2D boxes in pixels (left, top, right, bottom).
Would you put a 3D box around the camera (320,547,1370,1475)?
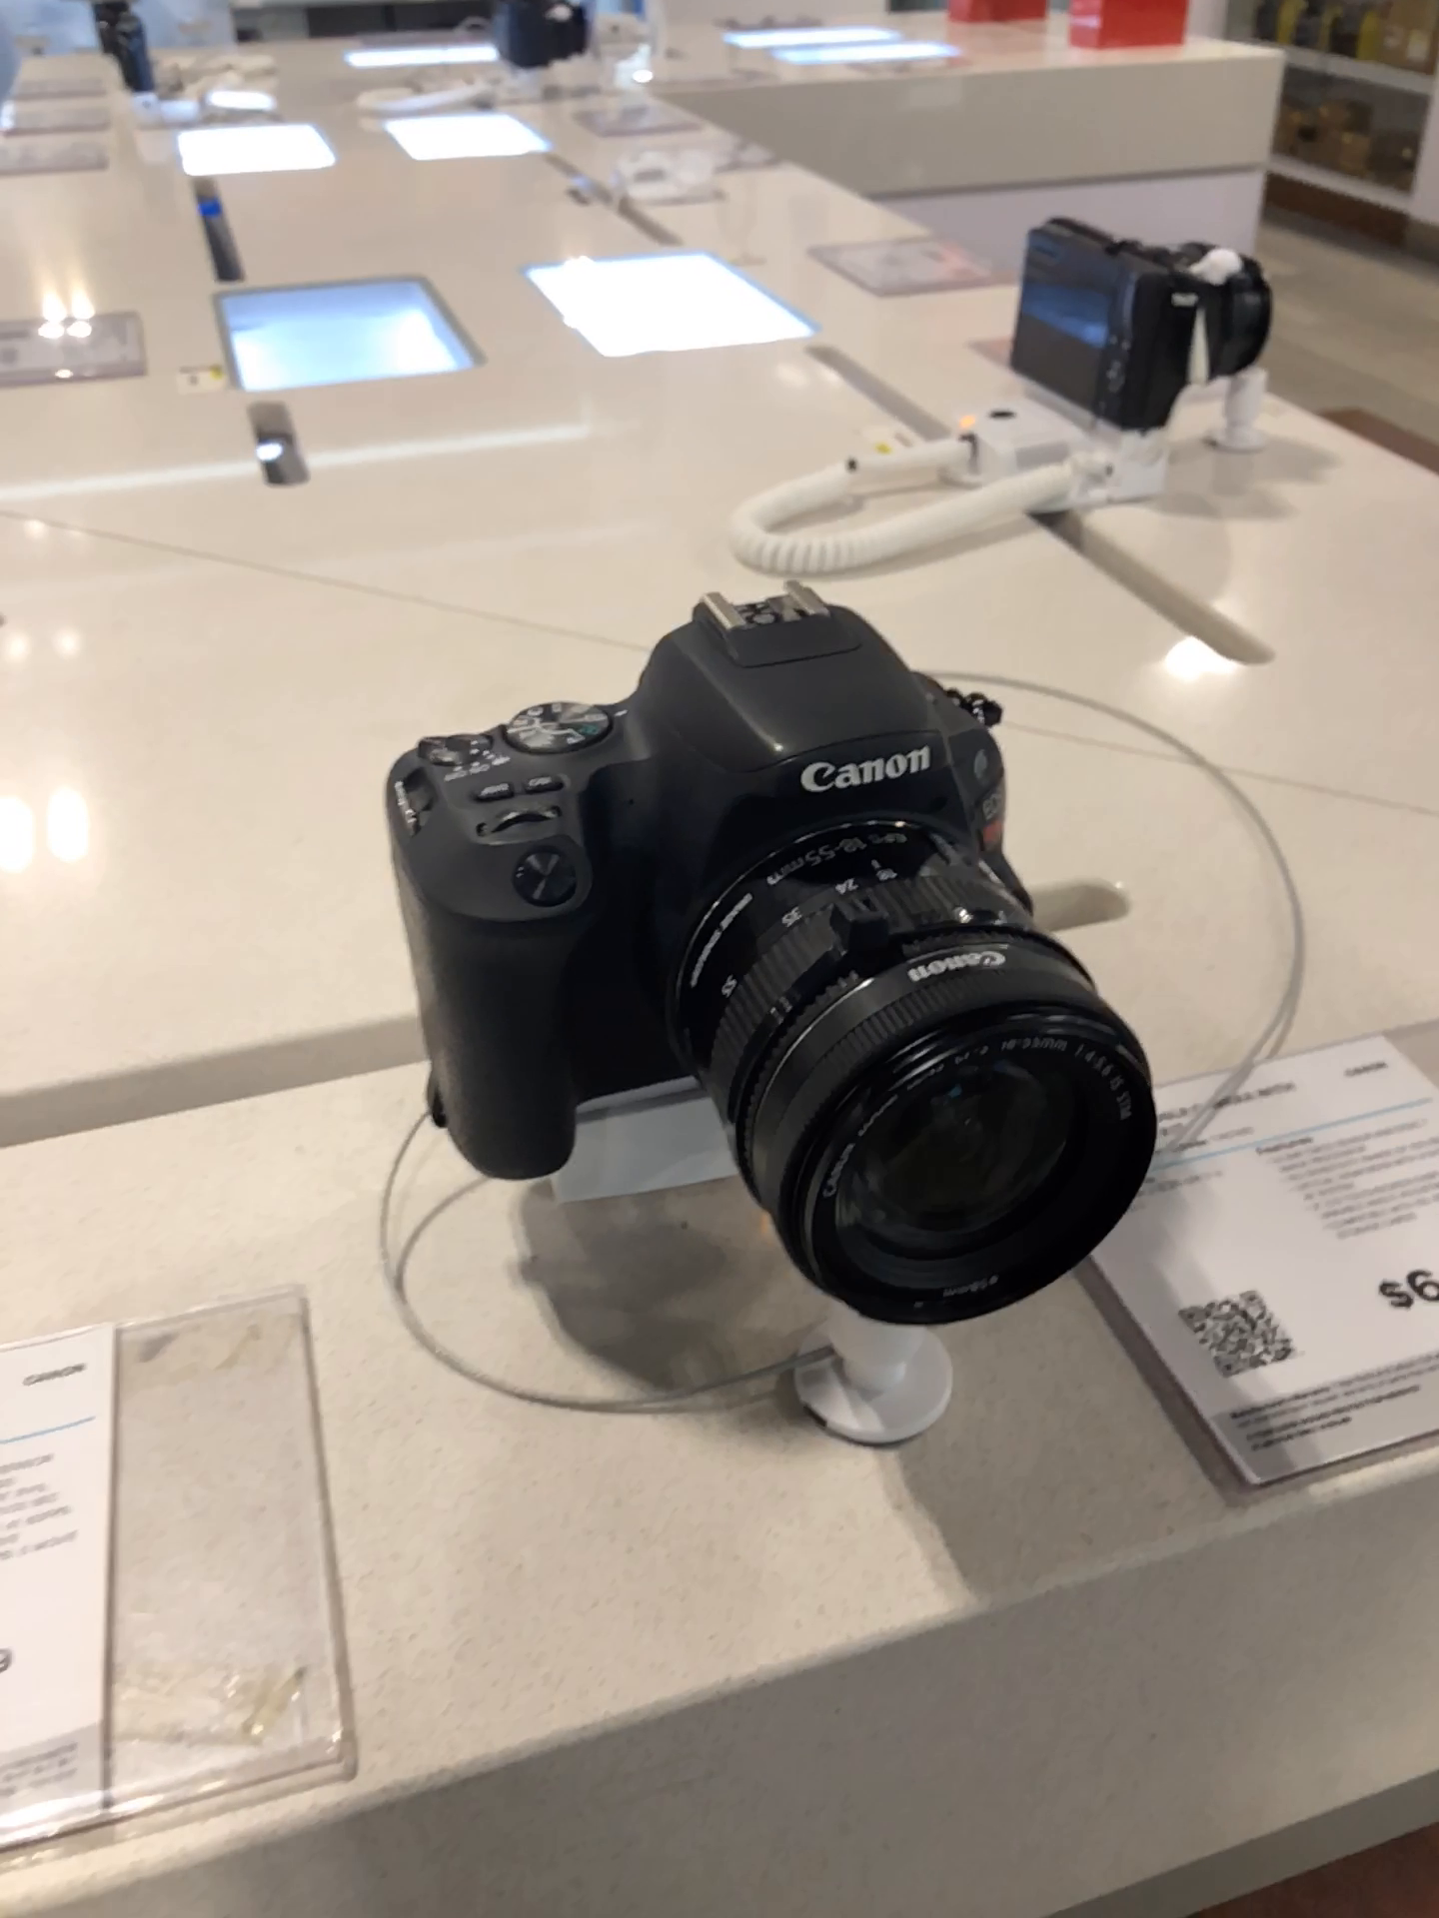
[{"bbox_3d":[0.008,-0.006,0.289,0.130,0.070,0.151,-12,37,-14],"label":"camera"}]
